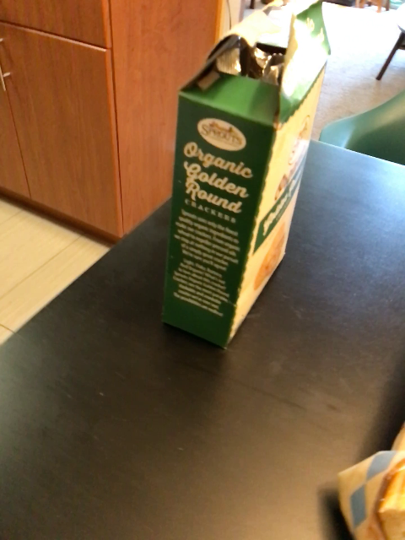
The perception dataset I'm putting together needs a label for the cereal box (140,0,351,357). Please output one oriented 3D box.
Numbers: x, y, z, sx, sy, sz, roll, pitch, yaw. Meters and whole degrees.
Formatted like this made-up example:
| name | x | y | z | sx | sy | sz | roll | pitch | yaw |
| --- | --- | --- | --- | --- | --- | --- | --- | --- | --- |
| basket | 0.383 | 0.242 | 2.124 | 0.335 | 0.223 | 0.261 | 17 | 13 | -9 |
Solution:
| name | x | y | z | sx | sy | sz | roll | pitch | yaw |
| --- | --- | --- | --- | --- | --- | --- | --- | --- | --- |
| cereal box | 0.030 | -0.079 | 0.371 | 0.080 | 0.248 | 0.171 | 22 | 44 | 17 |
